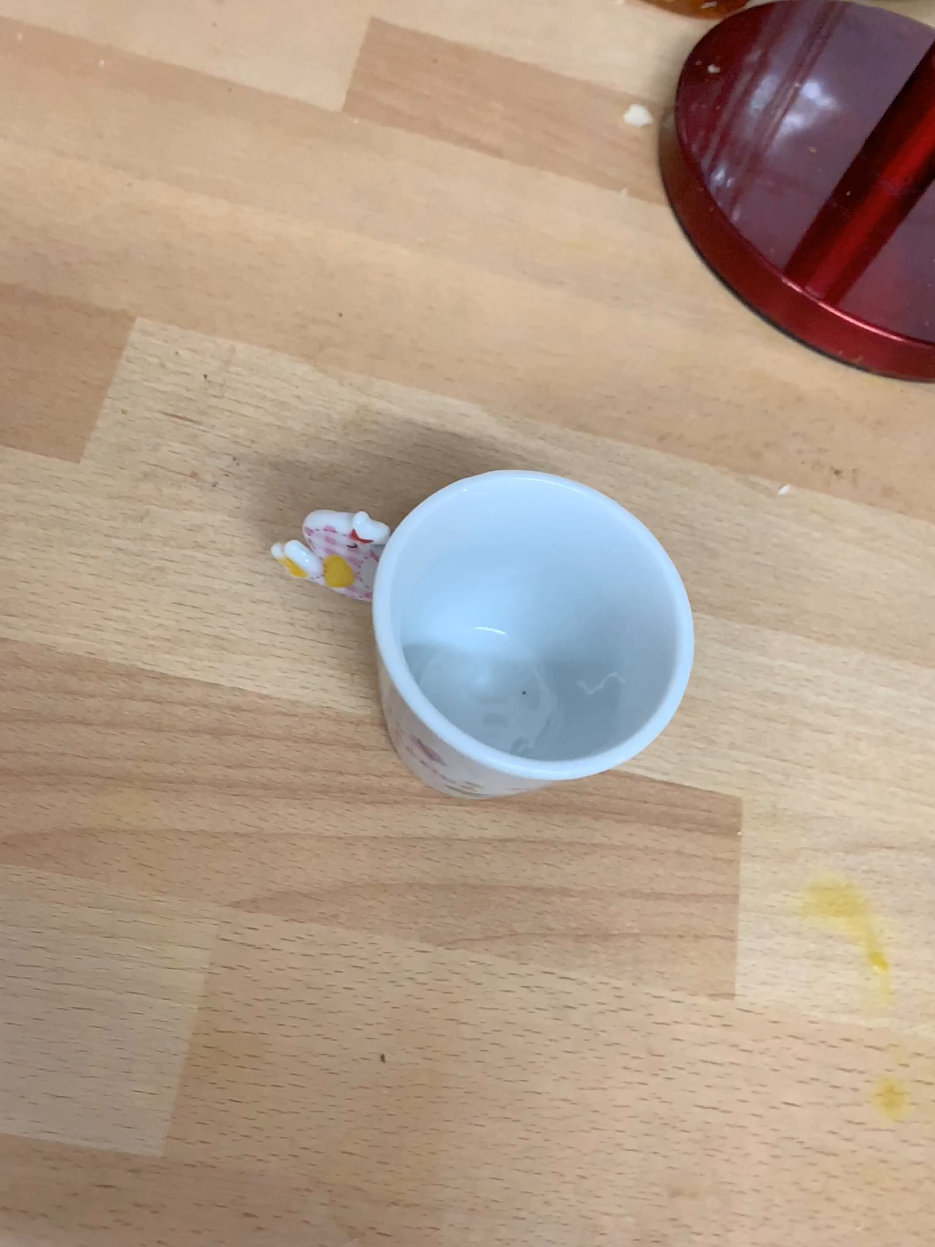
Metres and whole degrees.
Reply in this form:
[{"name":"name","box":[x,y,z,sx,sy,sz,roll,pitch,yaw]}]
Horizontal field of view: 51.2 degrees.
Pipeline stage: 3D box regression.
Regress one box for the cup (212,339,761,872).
[{"name":"cup","box":[0.002,-0.001,0.193,0.080,0.050,0.060,29,64,1]}]
